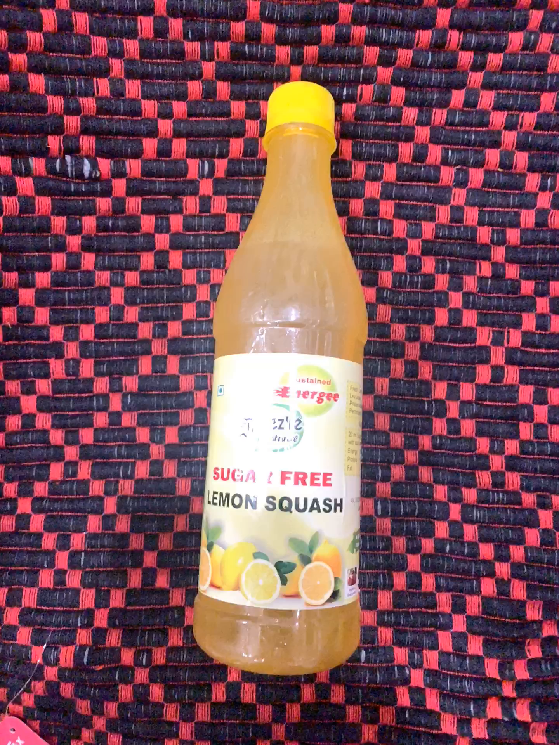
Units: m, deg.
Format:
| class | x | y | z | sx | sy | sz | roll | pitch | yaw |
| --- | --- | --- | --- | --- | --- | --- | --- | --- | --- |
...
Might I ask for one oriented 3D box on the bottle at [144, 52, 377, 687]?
| class | x | y | z | sx | sy | sz | roll | pitch | yaw |
| --- | --- | --- | --- | --- | --- | --- | --- | --- | --- |
| bottle | -0.002 | -0.008 | 0.236 | 0.070 | 0.060 | 0.230 | 3 | 77 | -1 |
